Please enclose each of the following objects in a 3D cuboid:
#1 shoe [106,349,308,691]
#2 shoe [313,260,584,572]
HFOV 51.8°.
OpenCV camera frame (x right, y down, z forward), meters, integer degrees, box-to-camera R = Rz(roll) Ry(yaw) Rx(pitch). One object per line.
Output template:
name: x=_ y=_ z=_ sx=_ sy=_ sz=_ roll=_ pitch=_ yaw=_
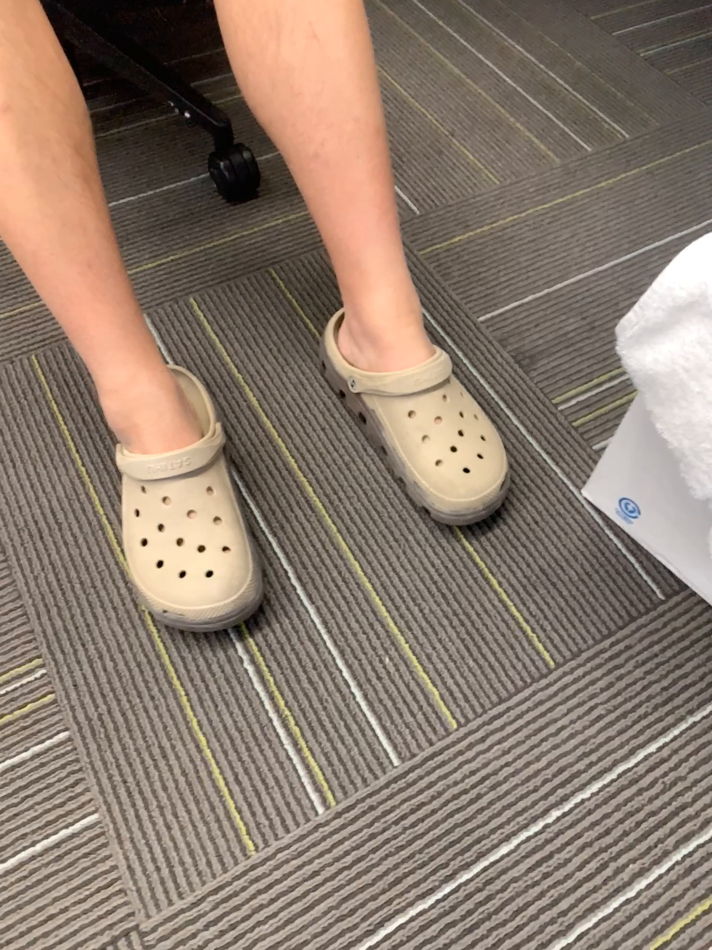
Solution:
shoe: x=-0.155 y=0.032 z=0.735 sx=0.134 sy=0.080 sz=0.322 roll=-13 pitch=60 yaw=-10
shoe: x=0.084 y=-0.077 z=0.796 sx=0.140 sy=0.079 sz=0.331 roll=-21 pitch=61 yaw=-14
